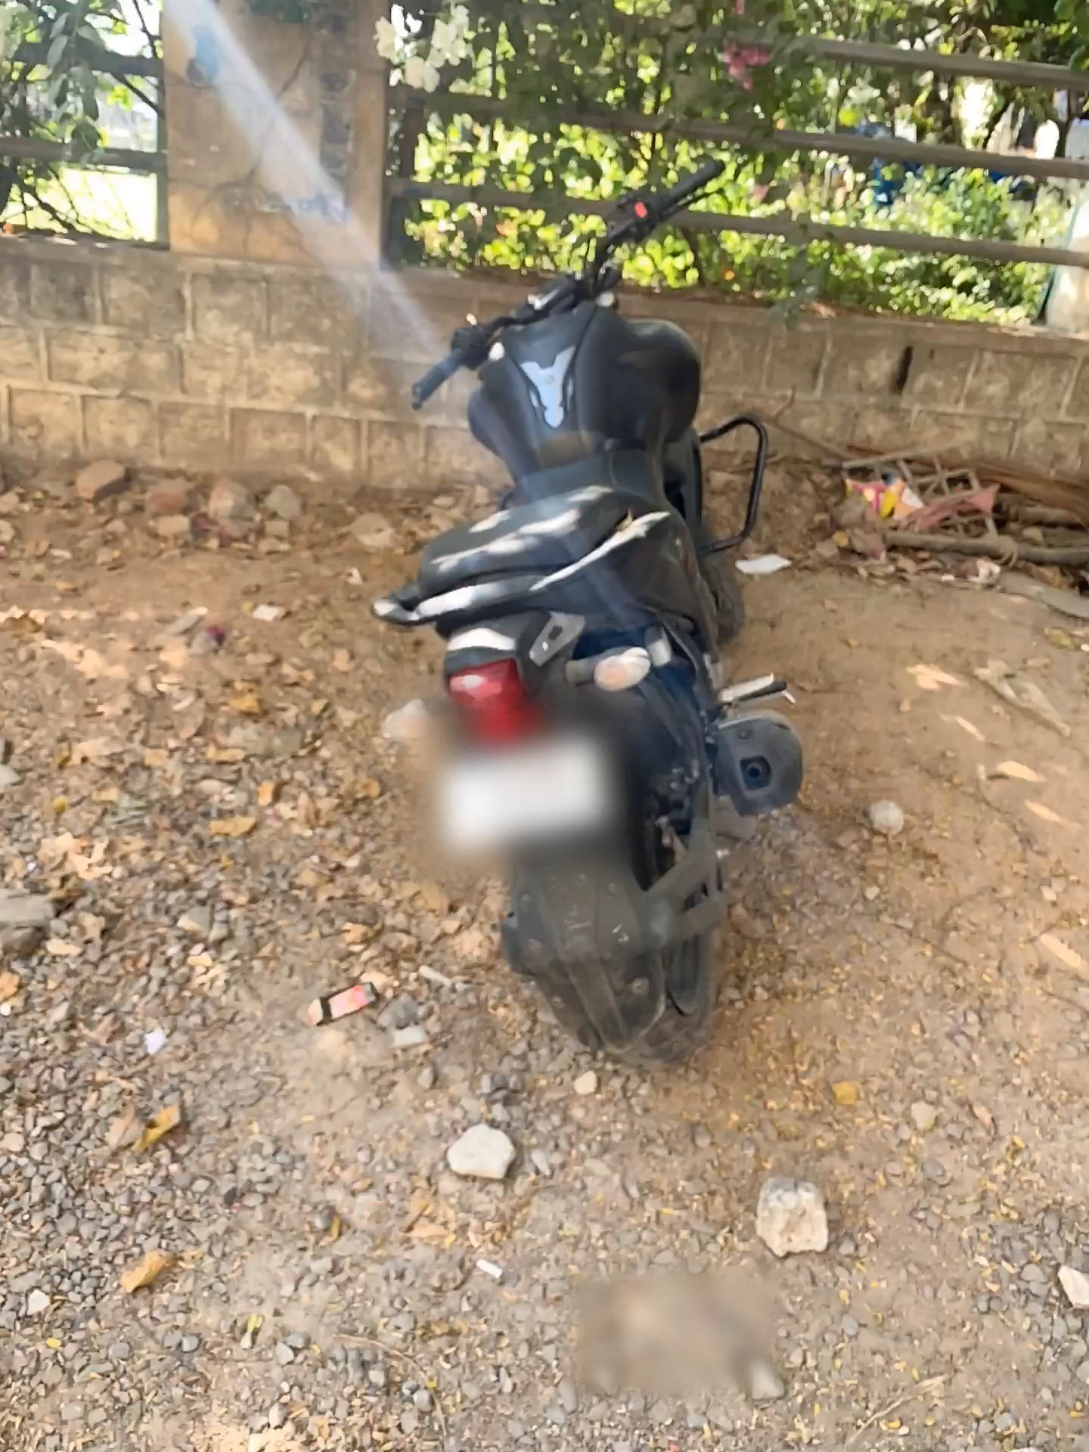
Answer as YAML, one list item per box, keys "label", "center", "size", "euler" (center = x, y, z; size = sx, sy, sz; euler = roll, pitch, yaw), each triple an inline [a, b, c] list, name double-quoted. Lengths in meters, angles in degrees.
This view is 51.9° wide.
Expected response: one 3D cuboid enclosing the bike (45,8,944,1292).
- label: "bike"
  center: [-0.101, -0.380, 2.068]
  size: [0.818, 1.499, 1.763]
  euler: [6, 30, -1]
